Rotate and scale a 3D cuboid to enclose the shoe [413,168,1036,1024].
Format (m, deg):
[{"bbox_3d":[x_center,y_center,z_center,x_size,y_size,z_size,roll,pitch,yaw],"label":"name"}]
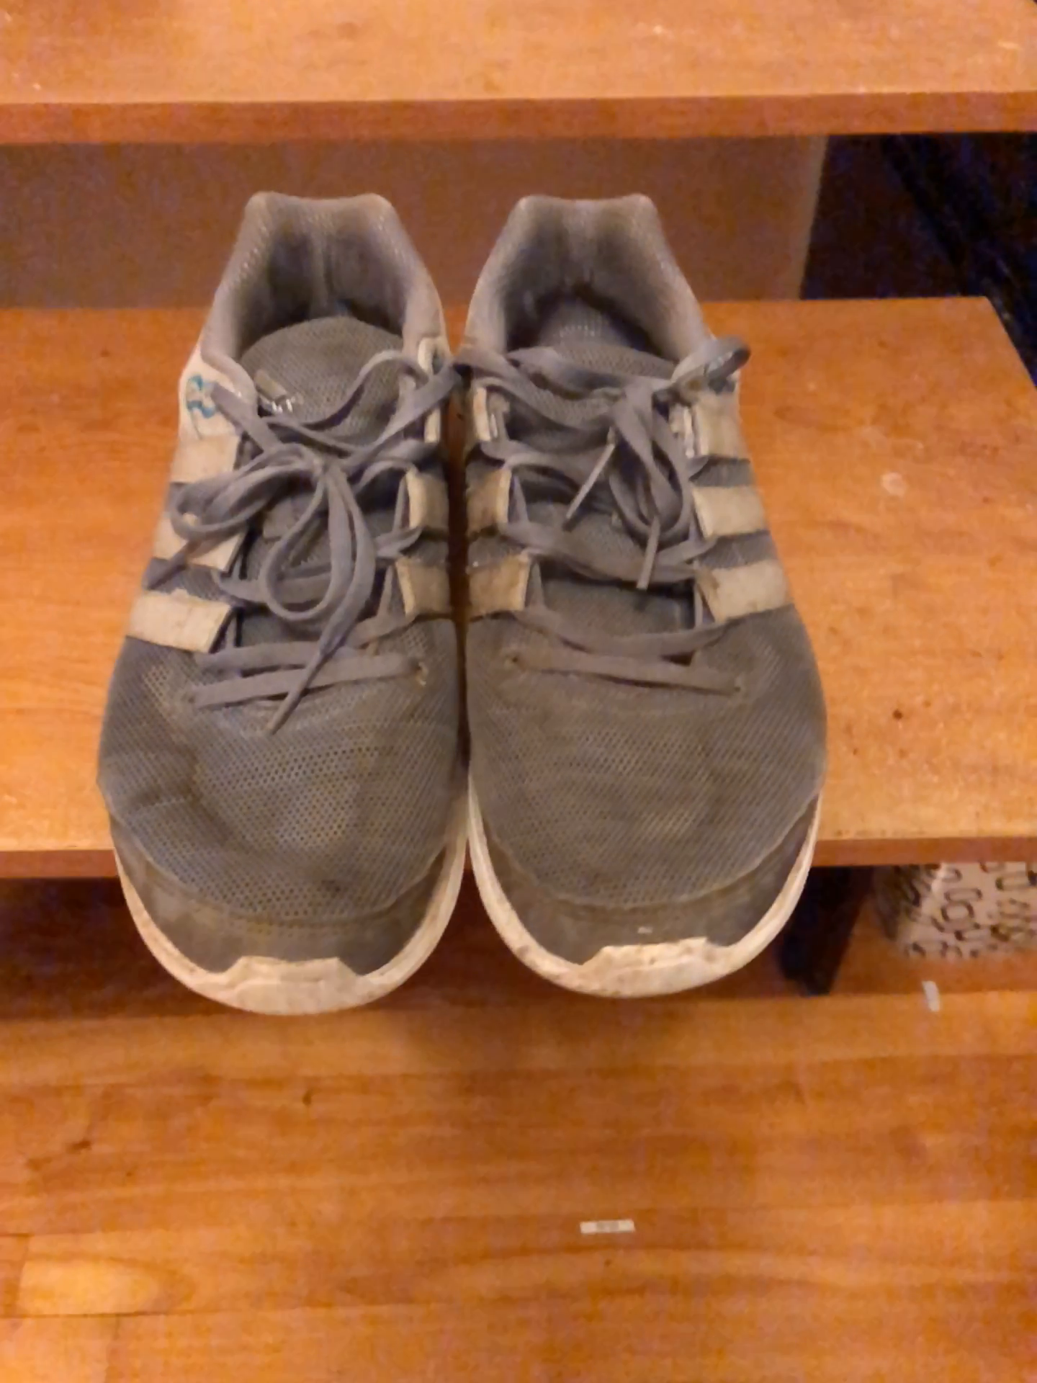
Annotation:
[{"bbox_3d":[0.032,-0.052,0.338,0.120,0.089,0.272,-3,46,-3],"label":"shoe"}]

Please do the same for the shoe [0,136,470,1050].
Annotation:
[{"bbox_3d":[-0.079,-0.059,0.343,0.110,0.089,0.302,-3,46,-3],"label":"shoe"}]
